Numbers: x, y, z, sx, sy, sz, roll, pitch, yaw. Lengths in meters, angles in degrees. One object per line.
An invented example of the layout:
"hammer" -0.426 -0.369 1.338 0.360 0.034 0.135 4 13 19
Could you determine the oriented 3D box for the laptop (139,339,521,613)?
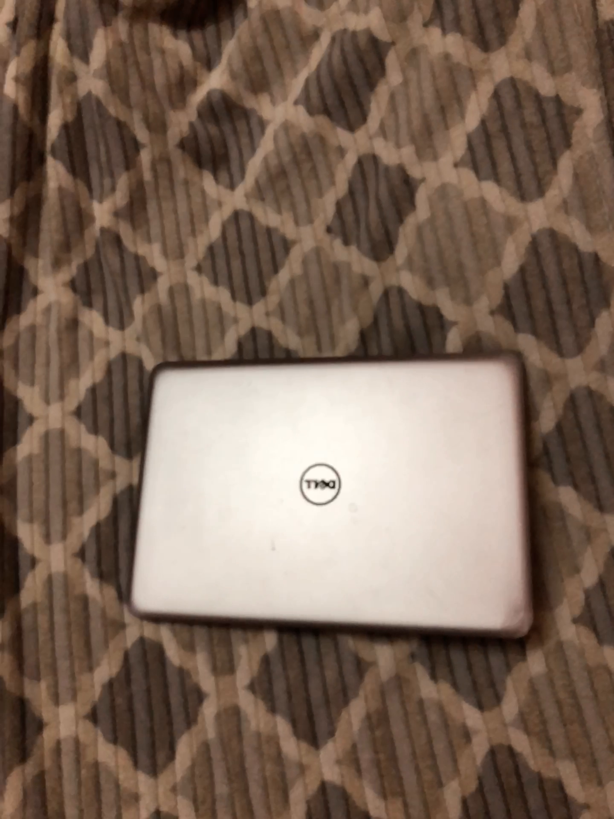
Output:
"laptop" 0.015 0.059 0.664 0.359 0.007 0.251 -1 76 12
